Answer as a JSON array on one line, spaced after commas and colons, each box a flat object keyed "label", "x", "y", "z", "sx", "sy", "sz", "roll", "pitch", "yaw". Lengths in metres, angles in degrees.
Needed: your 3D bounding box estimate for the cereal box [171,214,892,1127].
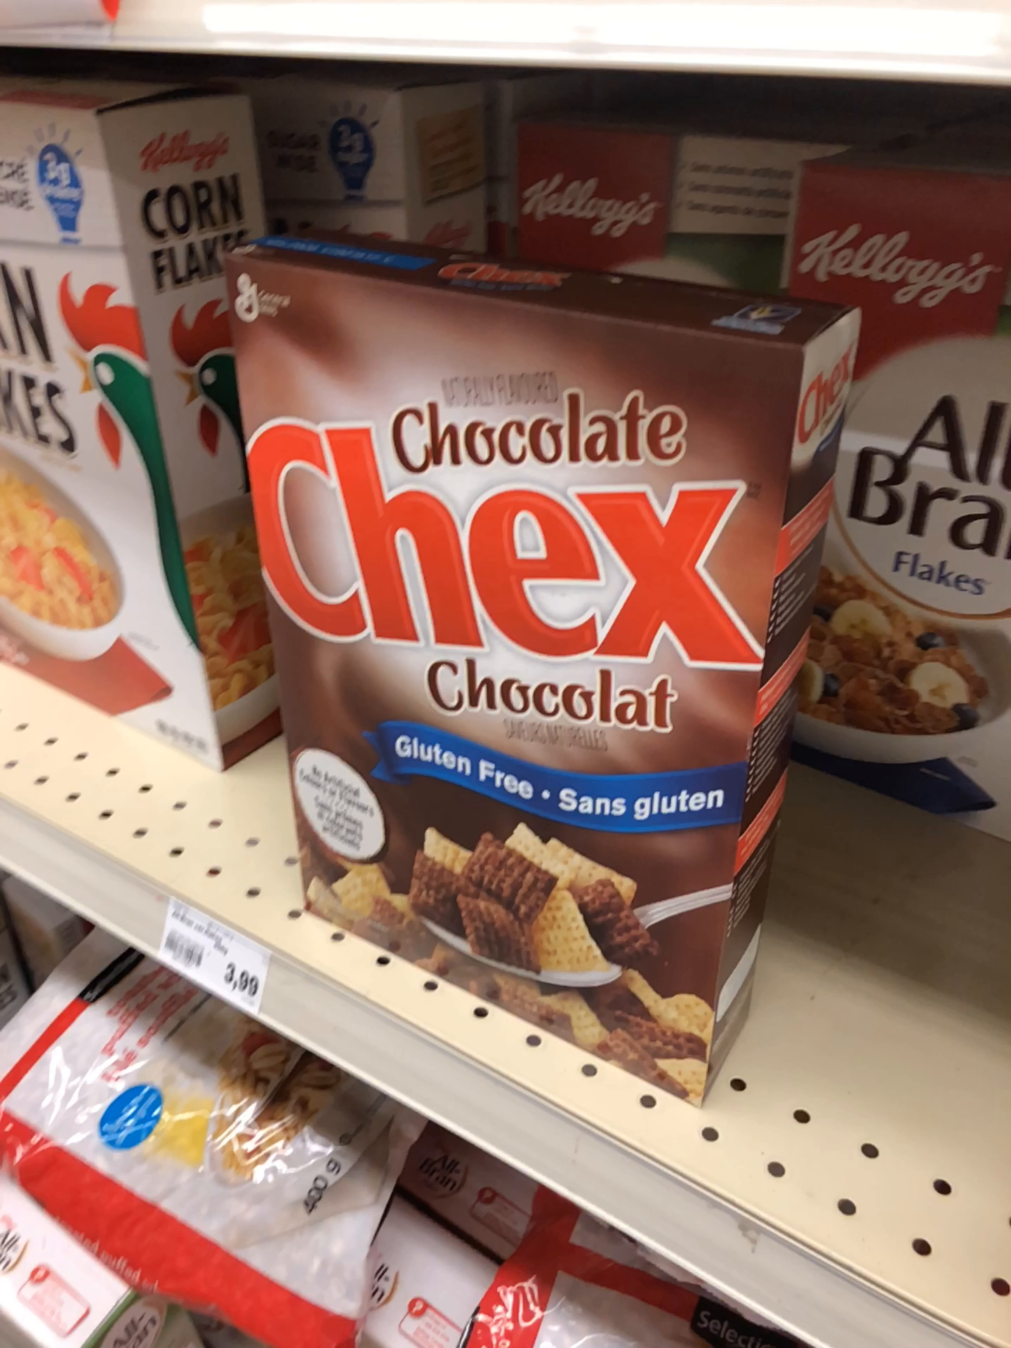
[{"label": "cereal box", "x": -0.002, "y": 0.001, "z": 0.390, "sx": 0.210, "sy": 0.278, "sz": 0.050, "roll": 19, "pitch": 37, "yaw": 28}]
